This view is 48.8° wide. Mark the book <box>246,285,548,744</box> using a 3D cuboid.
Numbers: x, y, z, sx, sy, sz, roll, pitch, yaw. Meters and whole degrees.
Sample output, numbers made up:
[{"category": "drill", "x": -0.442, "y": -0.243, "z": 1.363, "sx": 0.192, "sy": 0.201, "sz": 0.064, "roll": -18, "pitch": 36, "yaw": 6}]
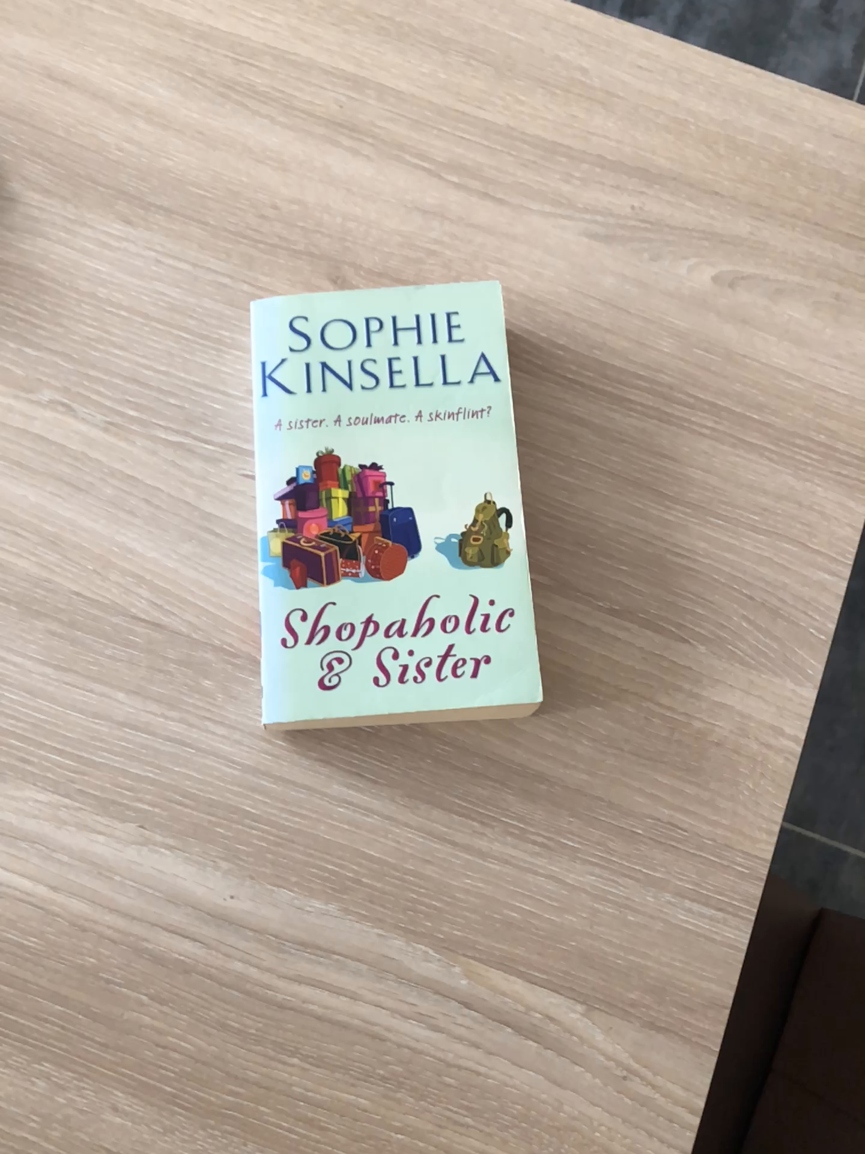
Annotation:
[{"category": "book", "x": -0.018, "y": -0.028, "z": 0.389, "sx": 0.107, "sy": 0.032, "sz": 0.180, "roll": -4, "pitch": 75, "yaw": -3}]
